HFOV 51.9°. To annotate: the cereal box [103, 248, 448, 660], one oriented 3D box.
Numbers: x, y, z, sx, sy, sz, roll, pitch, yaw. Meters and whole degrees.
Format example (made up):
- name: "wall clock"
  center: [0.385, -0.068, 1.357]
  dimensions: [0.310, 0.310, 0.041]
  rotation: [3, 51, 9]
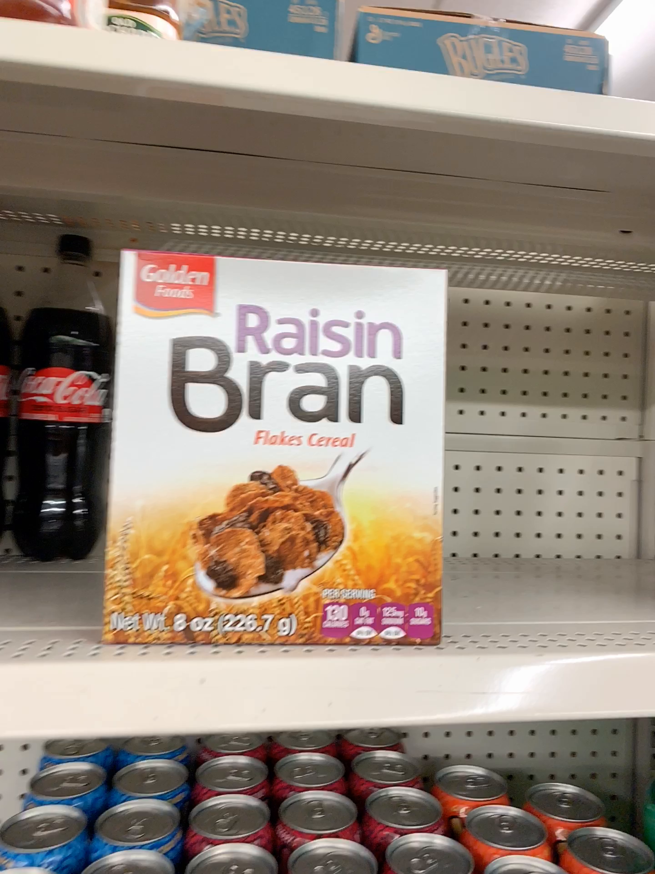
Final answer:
- name: "cereal box"
  center: [-0.028, 0.011, 0.411]
  dimensions: [0.190, 0.230, 0.050]
  rotation: [2, -4, -5]
